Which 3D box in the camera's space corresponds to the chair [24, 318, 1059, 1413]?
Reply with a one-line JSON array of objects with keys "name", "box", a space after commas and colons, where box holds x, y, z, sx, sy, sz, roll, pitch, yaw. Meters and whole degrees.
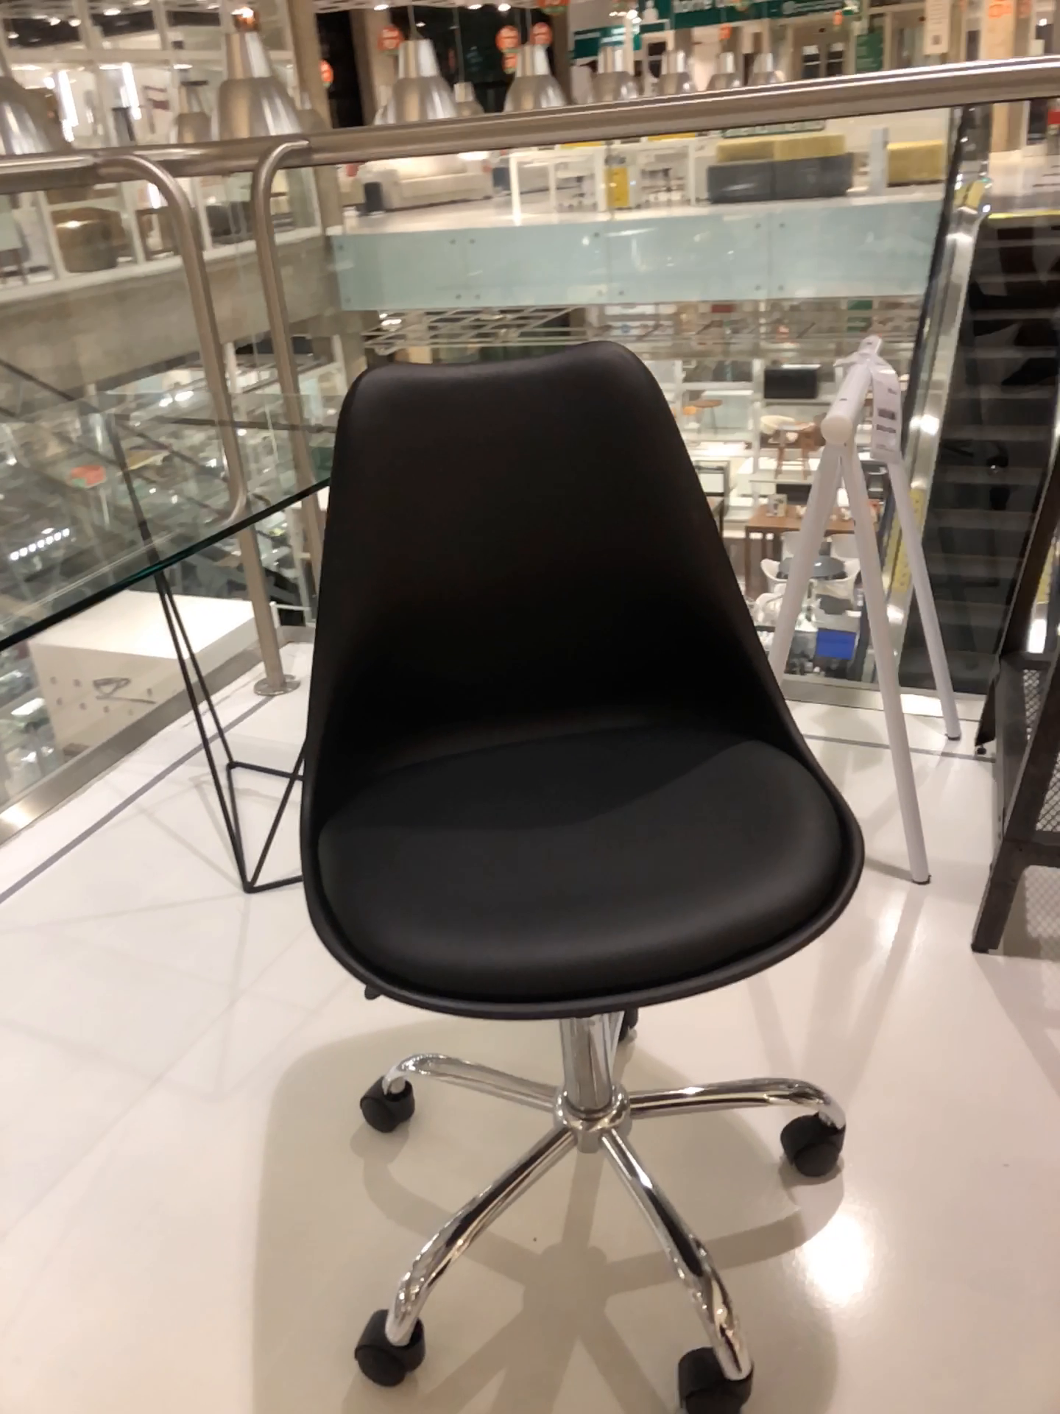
[{"name": "chair", "box": [0.034, 0.137, 1.093, 0.630, 0.824, 0.634, -9, 26, -6]}]
